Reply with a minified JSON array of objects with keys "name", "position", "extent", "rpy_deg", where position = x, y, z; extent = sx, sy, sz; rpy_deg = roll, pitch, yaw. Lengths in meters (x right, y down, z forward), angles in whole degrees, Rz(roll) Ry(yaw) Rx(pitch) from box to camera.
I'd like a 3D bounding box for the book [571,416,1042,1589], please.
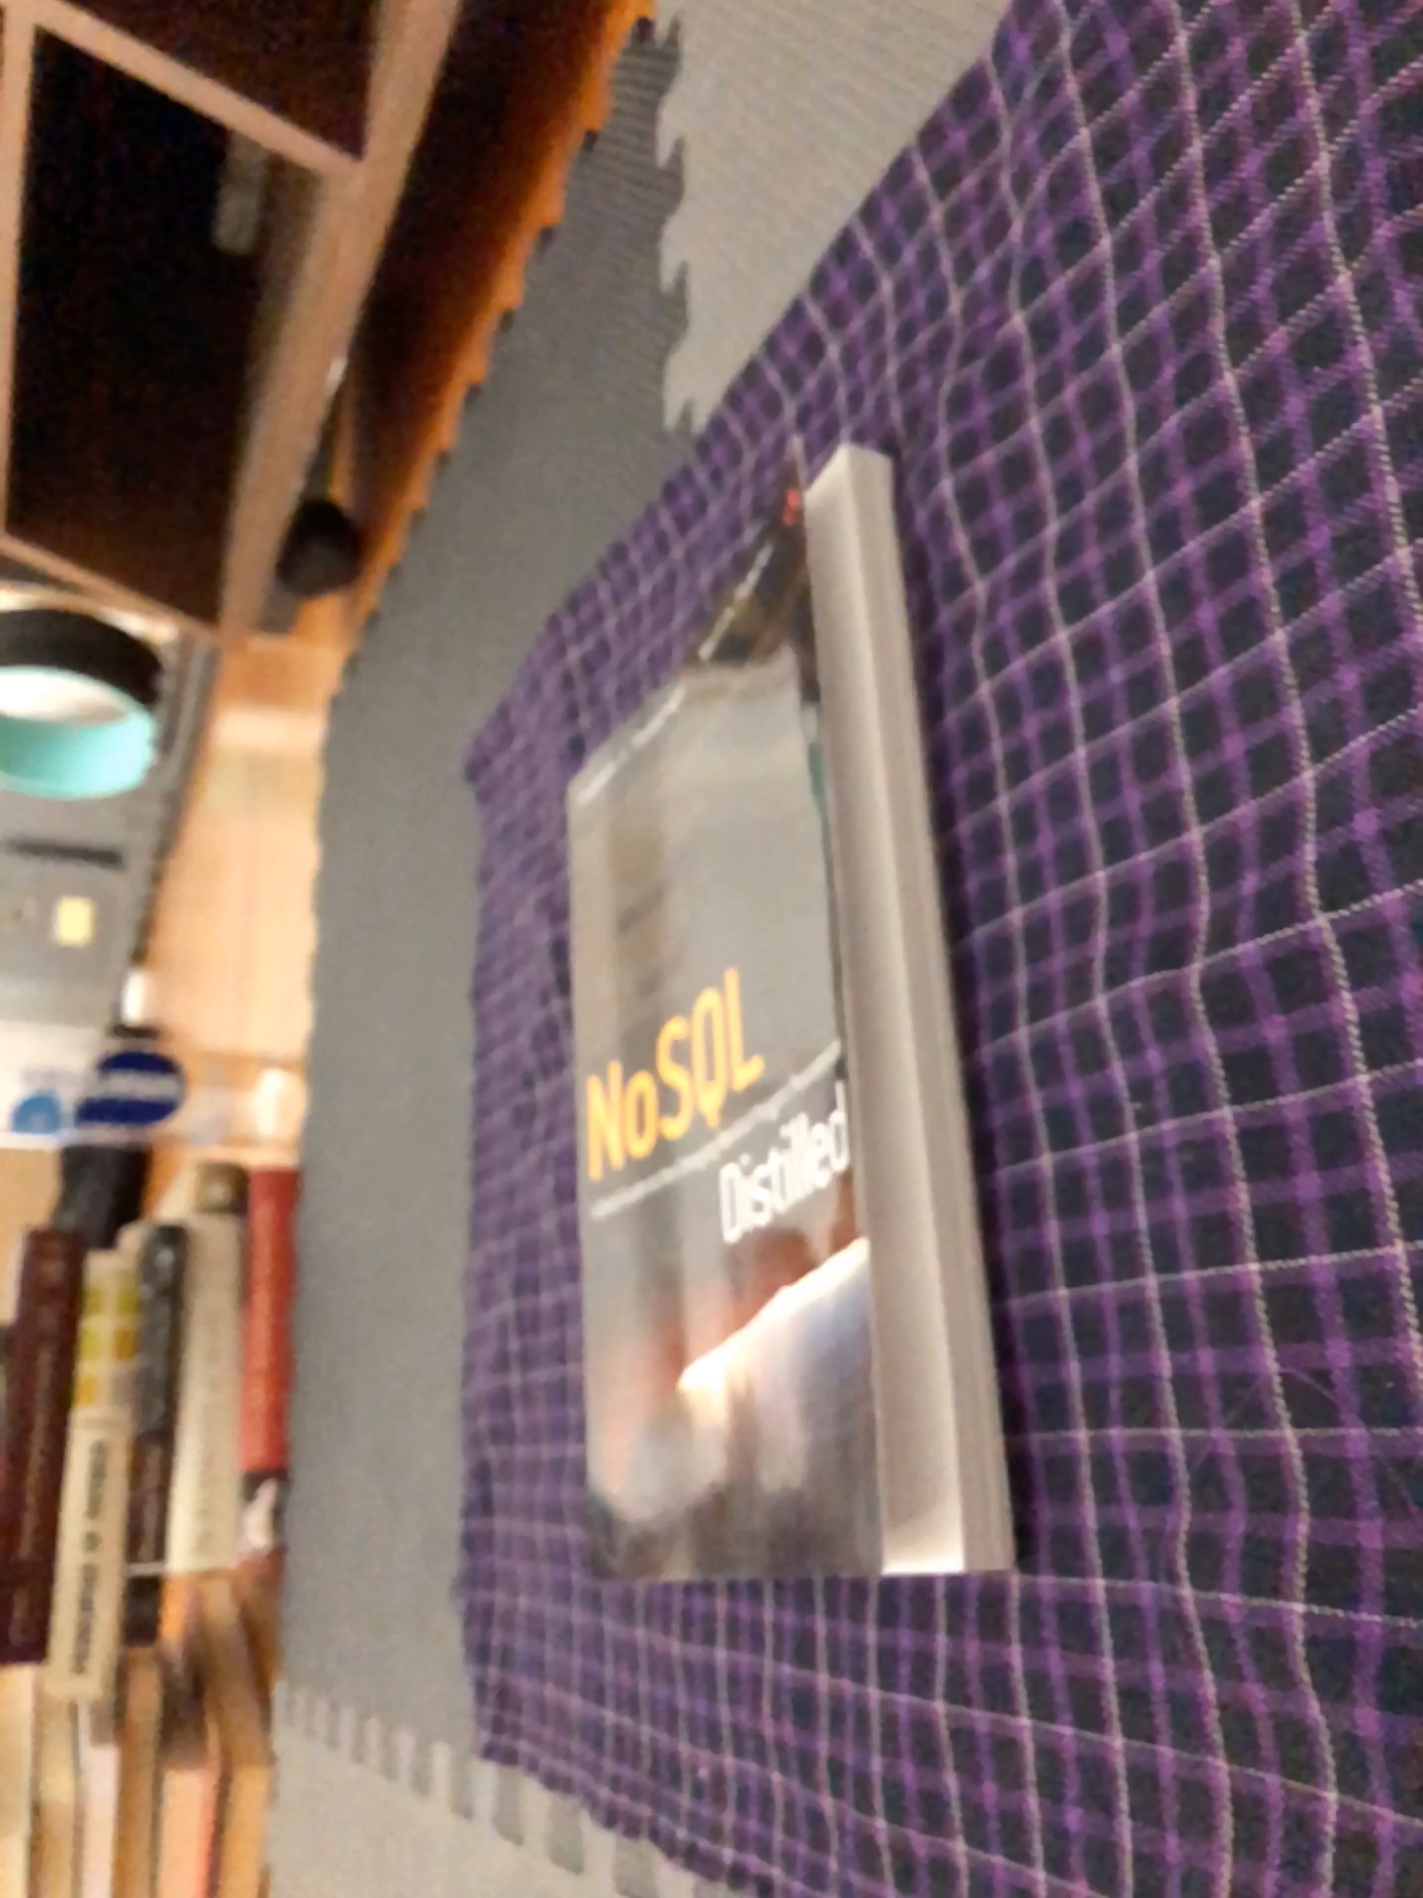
[{"name":"book","position":[0.006,0.027,0.410],"extent":[0.190,0.020,0.250],"rpy_deg":[138,134,-58]}]
